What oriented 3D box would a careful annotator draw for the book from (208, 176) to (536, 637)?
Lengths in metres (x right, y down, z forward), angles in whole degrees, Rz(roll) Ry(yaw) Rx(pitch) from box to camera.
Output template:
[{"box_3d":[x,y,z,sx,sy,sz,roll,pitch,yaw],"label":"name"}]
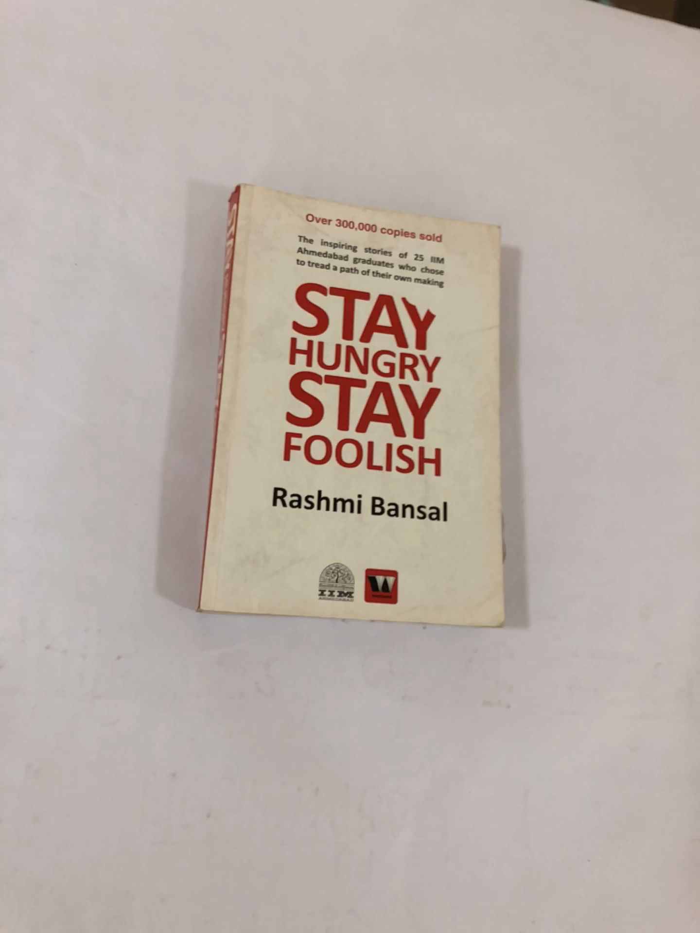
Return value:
[{"box_3d":[0.012,-0.025,0.351,0.130,0.040,0.190,6,73,-12],"label":"book"}]
